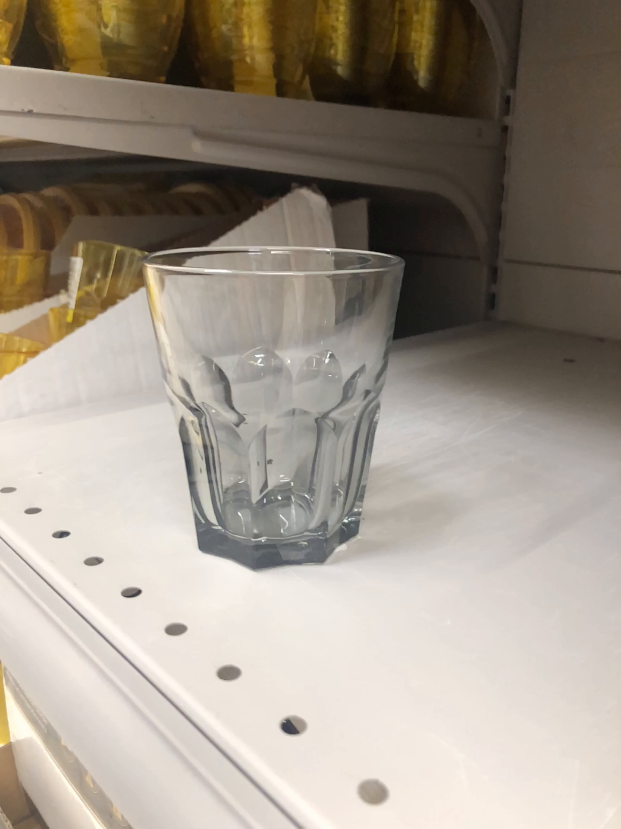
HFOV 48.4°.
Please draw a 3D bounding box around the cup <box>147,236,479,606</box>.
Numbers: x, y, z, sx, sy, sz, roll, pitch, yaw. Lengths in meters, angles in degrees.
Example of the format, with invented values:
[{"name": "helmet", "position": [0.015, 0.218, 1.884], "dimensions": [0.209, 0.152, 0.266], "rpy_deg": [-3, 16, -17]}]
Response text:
[{"name": "cup", "position": [-0.007, -0.007, 0.225], "dimensions": [0.082, 0.092, 0.086], "rpy_deg": [1, 18, 0]}]
